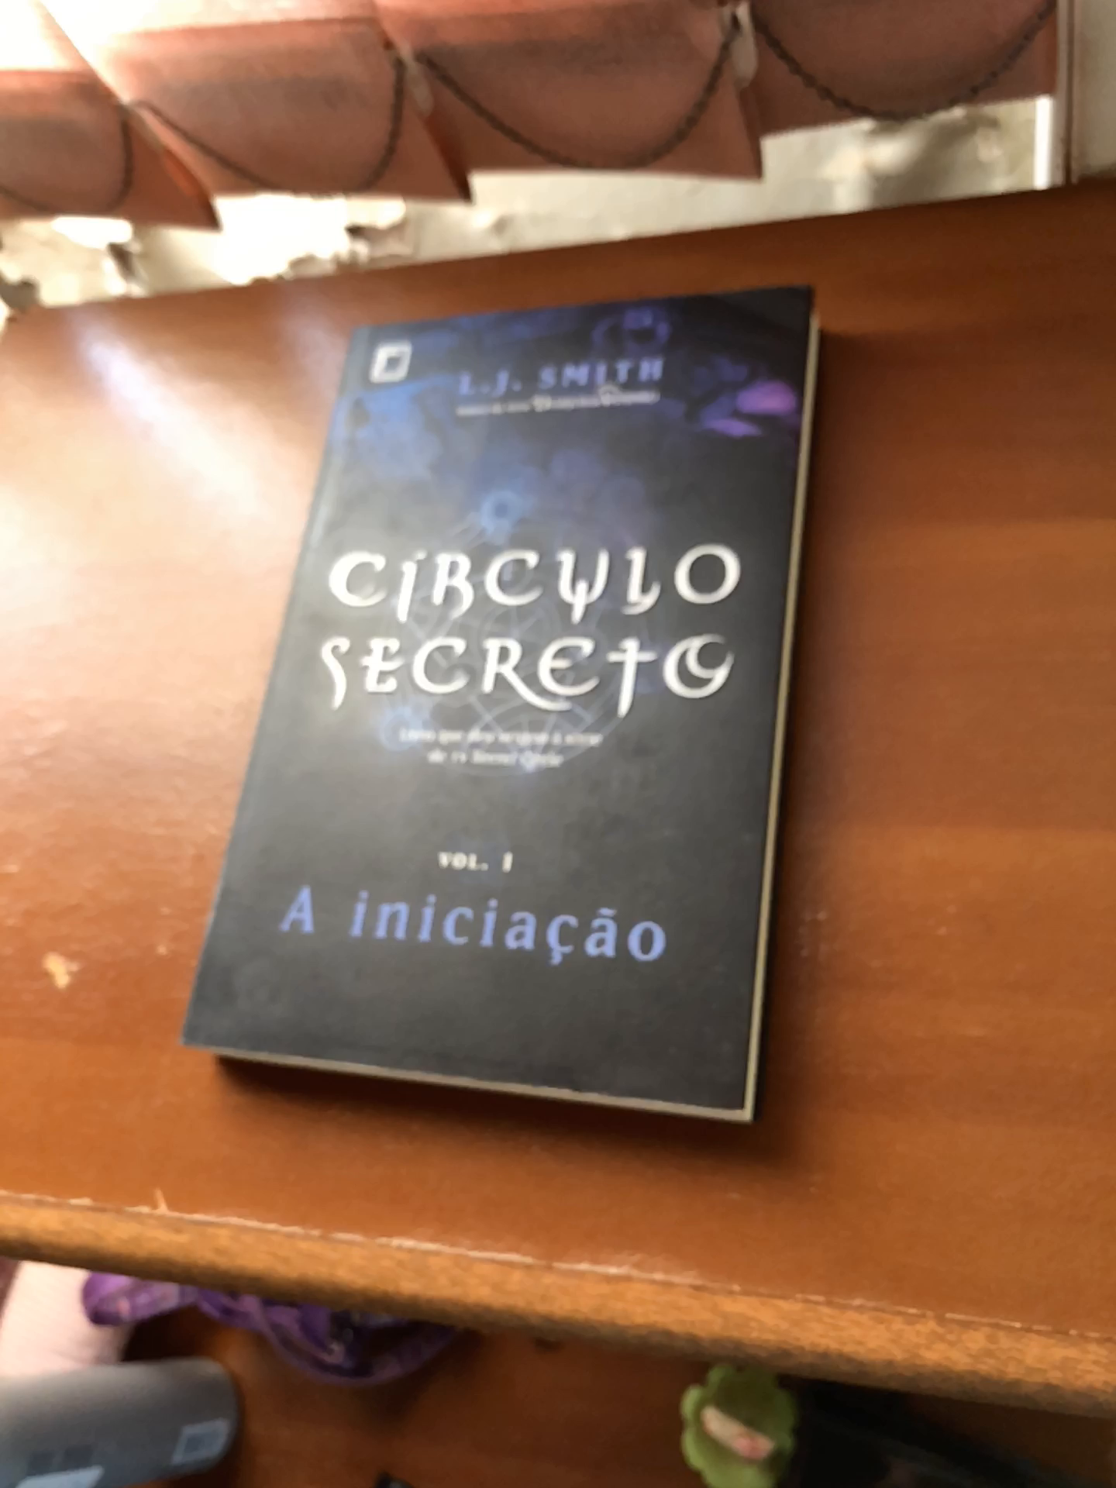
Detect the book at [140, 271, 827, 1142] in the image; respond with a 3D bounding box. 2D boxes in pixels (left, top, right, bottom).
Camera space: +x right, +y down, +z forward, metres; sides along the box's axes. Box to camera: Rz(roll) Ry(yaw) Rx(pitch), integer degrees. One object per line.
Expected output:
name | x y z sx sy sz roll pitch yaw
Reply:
book | -0.011 -0.021 0.315 0.140 0.024 0.214 1 67 18
